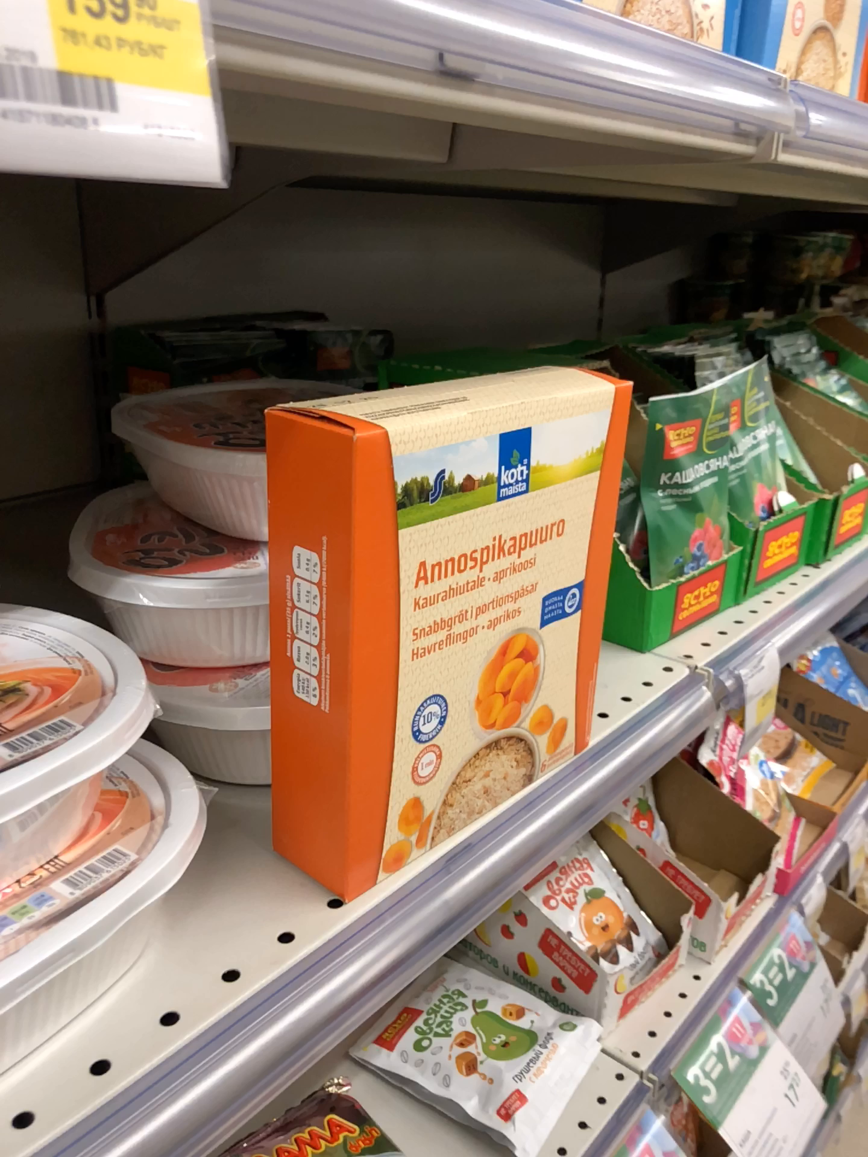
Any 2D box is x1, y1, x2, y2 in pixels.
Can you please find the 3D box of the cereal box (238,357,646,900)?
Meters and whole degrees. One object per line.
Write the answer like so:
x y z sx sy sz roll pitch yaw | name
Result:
0.009 0.008 0.404 0.060 0.179 0.171 19 26 39 | cereal box
